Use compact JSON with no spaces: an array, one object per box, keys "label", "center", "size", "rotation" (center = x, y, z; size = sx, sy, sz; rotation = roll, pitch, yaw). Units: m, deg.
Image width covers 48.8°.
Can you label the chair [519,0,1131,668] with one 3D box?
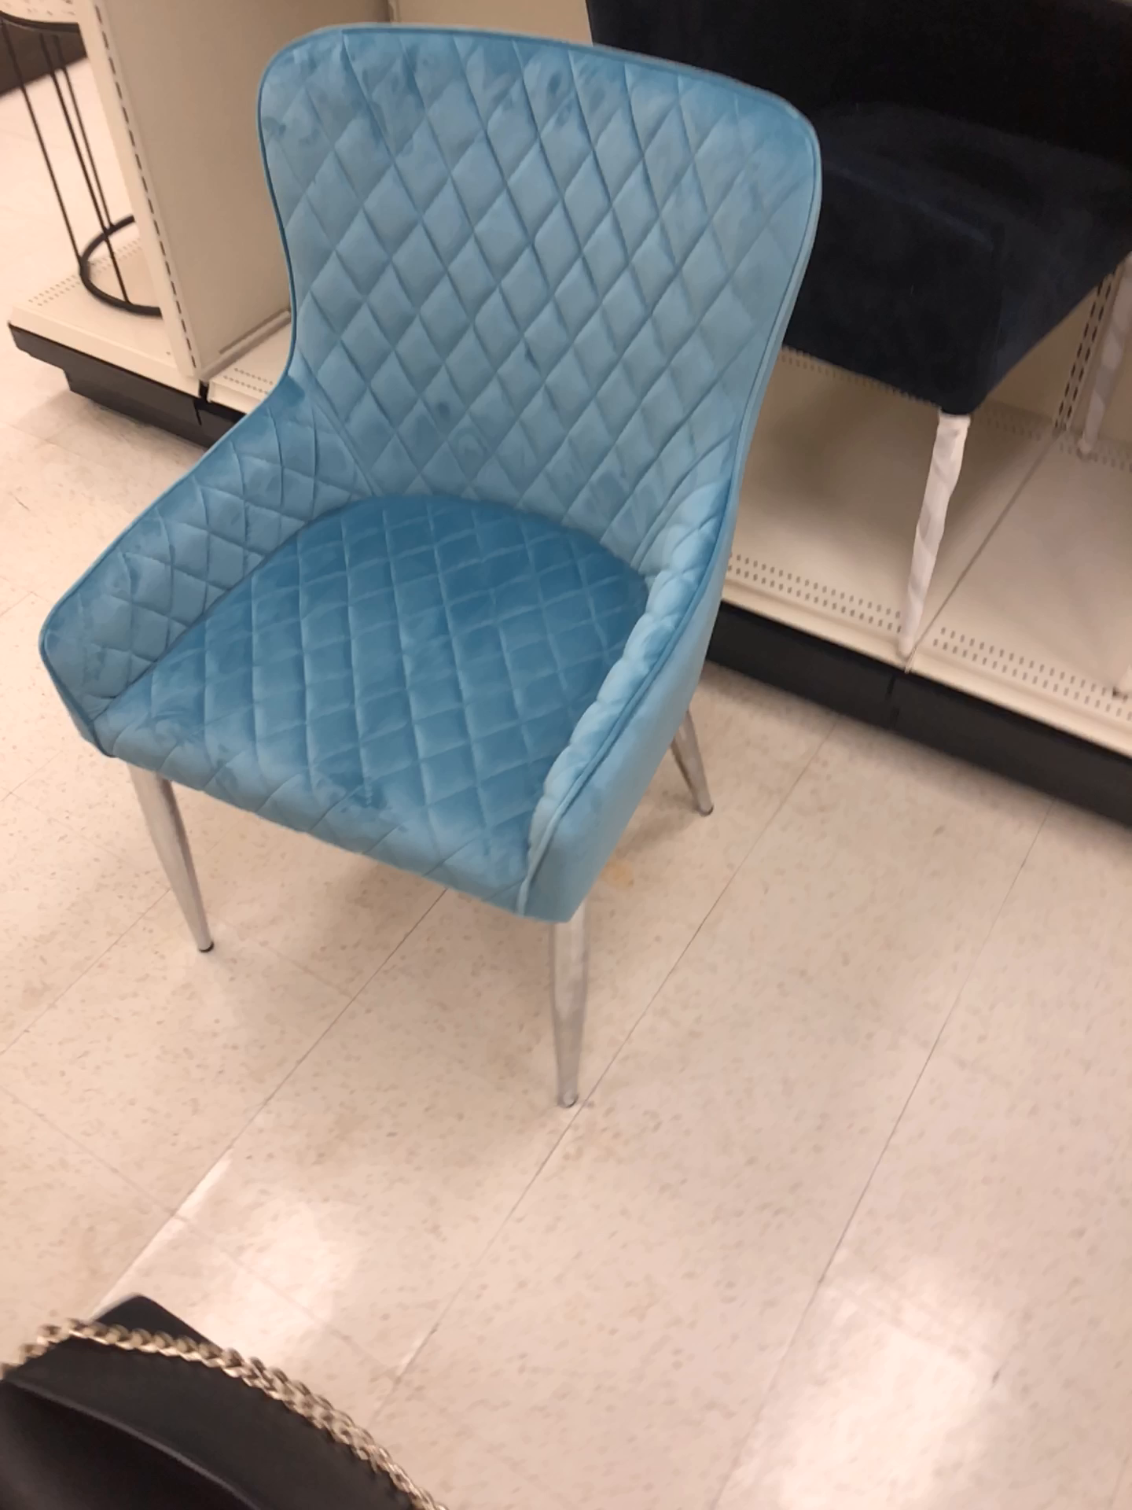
[{"label":"chair","center":[0.367,-0.663,1.490],"size":[0.581,0.778,0.561],"rotation":[30,56,26]}]

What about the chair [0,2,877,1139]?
[{"label":"chair","center":[-0.110,-0.163,1.286],"size":[0.561,0.871,0.584],"rotation":[20,52,19]}]
